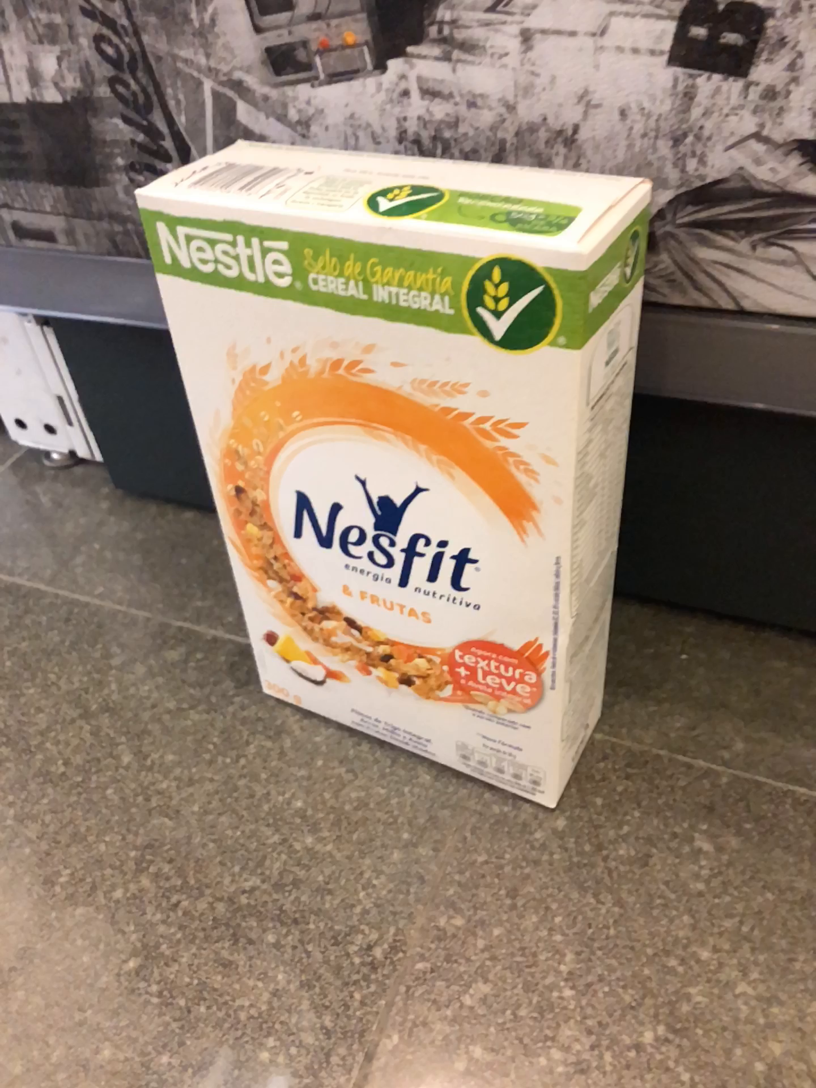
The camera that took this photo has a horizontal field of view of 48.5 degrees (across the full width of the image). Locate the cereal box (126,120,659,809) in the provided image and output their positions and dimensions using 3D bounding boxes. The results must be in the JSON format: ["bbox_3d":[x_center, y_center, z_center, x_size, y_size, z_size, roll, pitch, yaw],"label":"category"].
[{"bbox_3d":[0.004,-0.022,0.359,0.150,0.248,0.070,16,45,25],"label":"cereal box"}]
